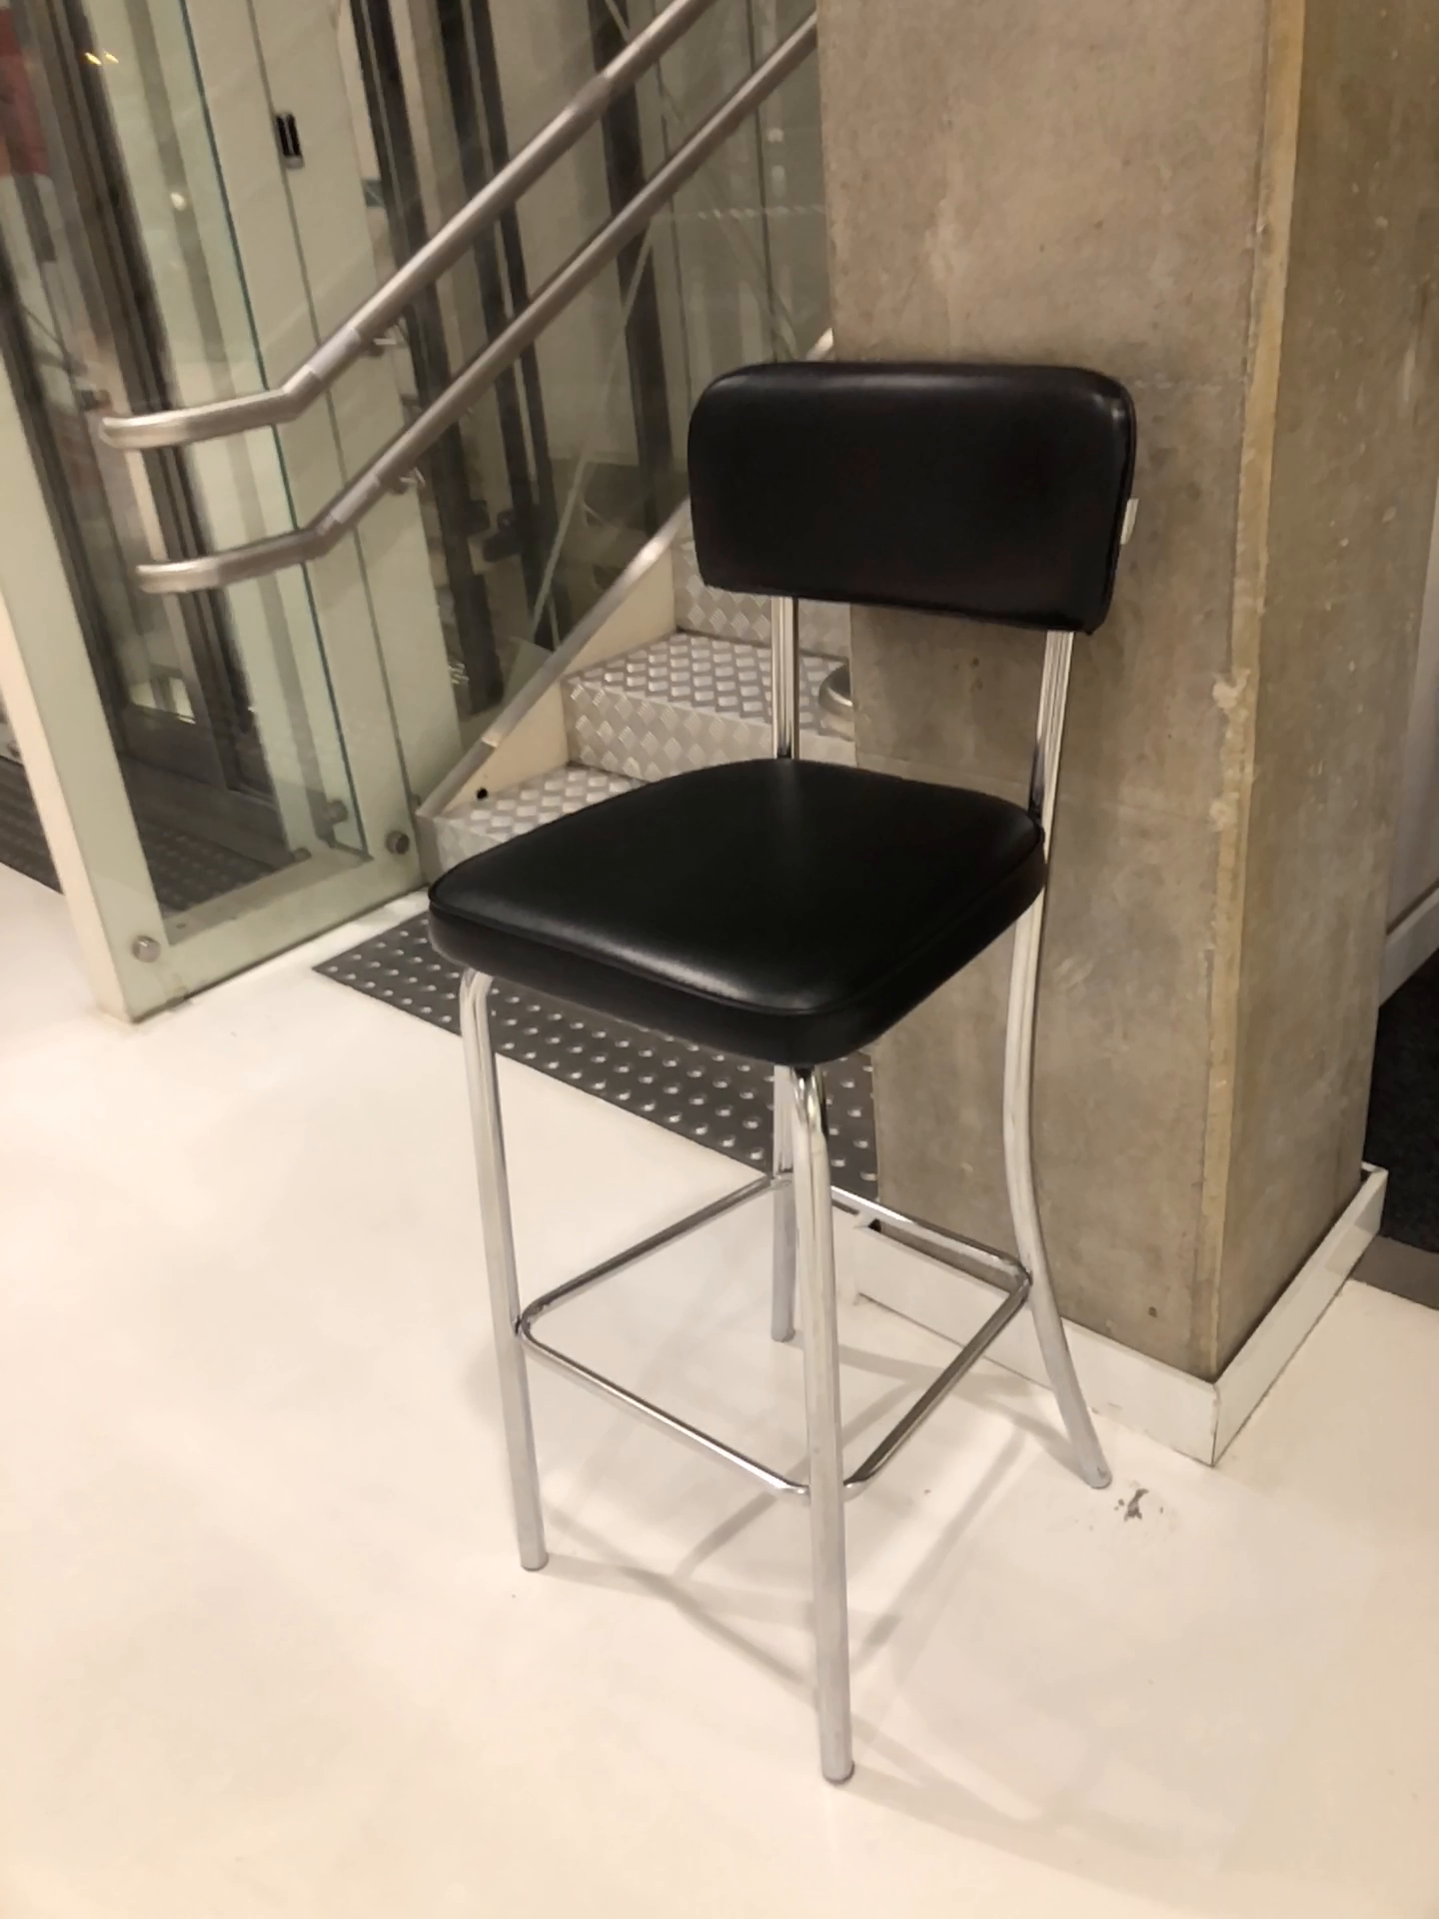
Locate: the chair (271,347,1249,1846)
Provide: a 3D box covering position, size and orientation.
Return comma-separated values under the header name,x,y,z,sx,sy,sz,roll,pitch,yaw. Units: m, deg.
name,x,y,z,sx,sy,sz,roll,pitch,yaw
chair,0.073,0.080,1.232,0.451,0.983,0.442,18,36,38
